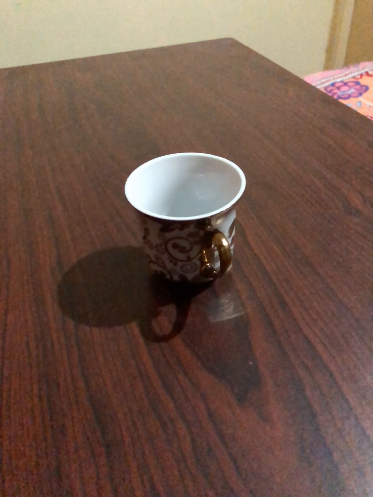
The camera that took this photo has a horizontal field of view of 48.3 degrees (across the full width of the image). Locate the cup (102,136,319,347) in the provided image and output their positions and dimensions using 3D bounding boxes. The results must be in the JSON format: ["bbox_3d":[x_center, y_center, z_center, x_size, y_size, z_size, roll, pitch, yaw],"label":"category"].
[{"bbox_3d":[0.008,-0.010,0.218,0.070,0.050,0.090,-20,43,-18],"label":"cup"}]
